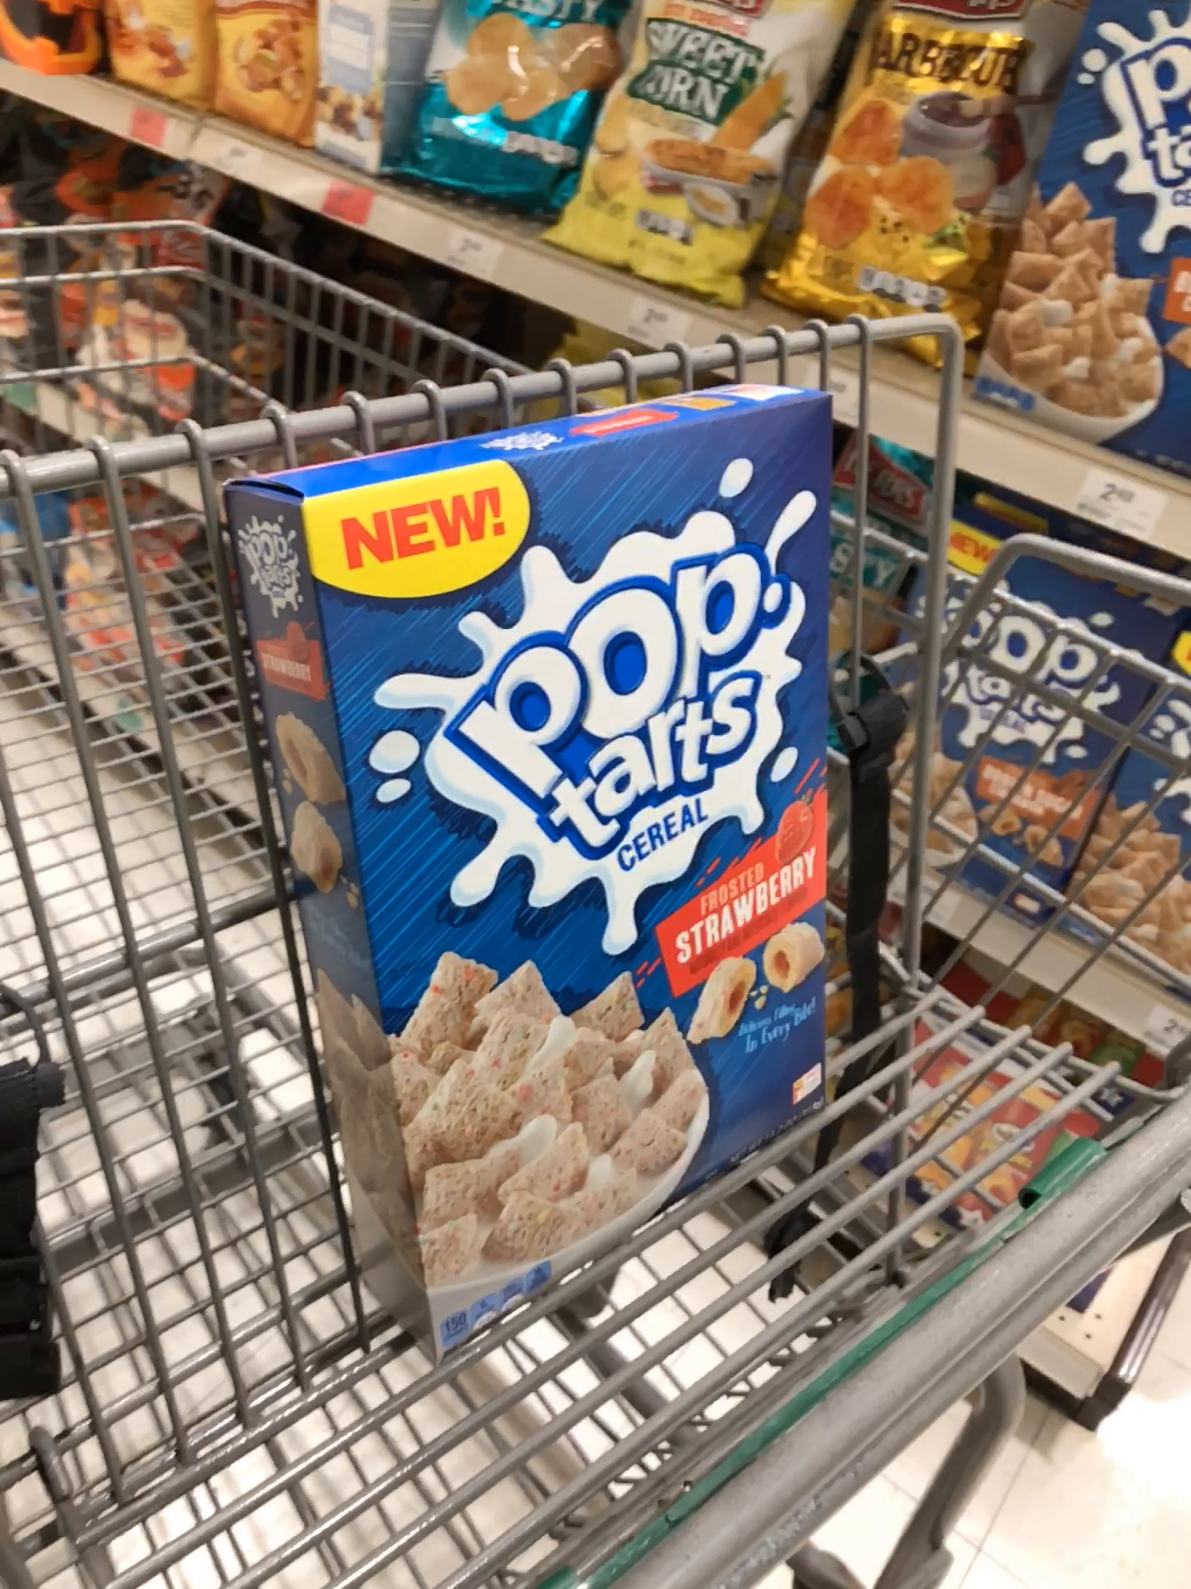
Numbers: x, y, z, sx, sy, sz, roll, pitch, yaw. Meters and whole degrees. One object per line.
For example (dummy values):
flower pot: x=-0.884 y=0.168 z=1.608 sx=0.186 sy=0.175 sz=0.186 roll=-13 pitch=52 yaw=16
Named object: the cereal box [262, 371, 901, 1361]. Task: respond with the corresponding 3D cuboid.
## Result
cereal box: x=0.014 y=0.017 z=0.441 sx=0.200 sy=0.279 sz=0.050 roll=-21 pitch=29 yaw=-34
